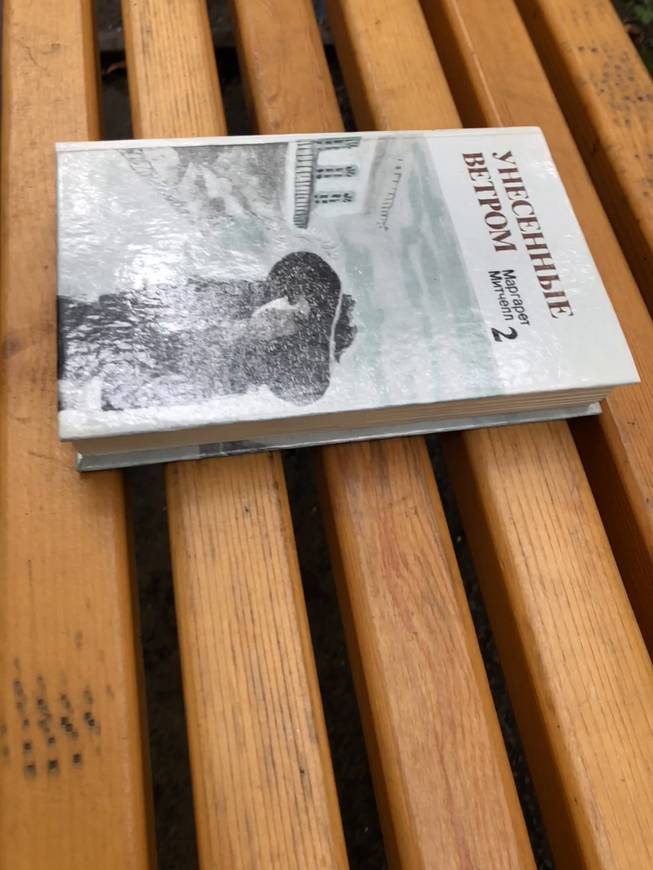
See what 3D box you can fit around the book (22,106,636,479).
[{"bbox_3d":[-0.005,-0.064,0.287,0.210,0.030,0.140,-6,65,-8],"label":"book"}]
